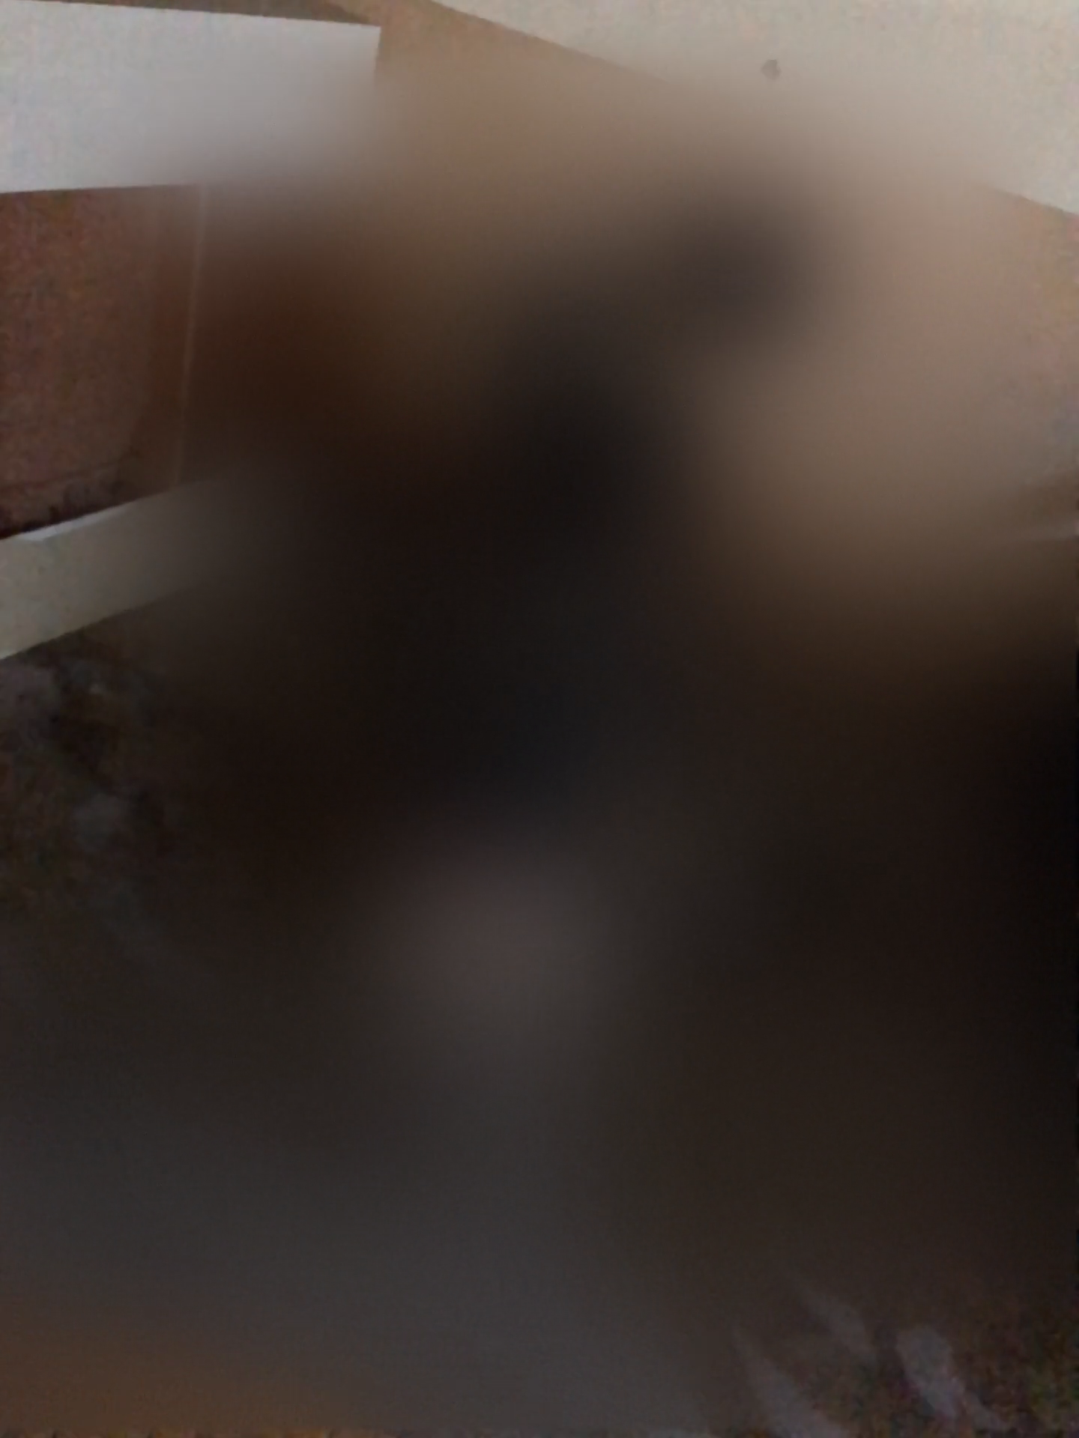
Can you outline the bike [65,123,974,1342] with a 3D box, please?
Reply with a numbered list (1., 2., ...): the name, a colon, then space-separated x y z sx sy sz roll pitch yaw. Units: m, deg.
1. bike: -0.057 -0.167 1.995 0.717 1.179 1.712 16 33 -3
